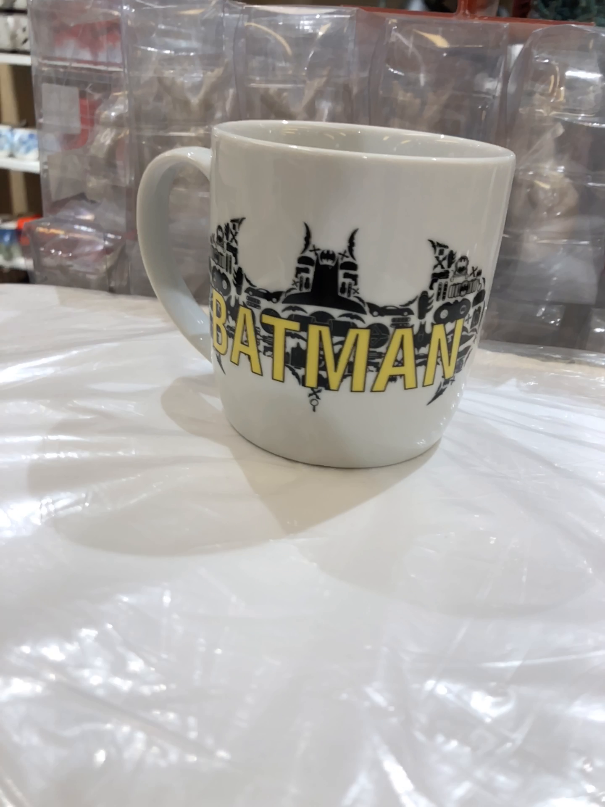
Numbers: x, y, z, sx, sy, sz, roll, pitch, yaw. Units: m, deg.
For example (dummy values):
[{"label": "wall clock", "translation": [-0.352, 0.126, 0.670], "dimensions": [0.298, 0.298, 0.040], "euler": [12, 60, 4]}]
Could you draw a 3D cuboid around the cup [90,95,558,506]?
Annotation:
[{"label": "cup", "translation": [0.007, -0.042, 0.212], "dimensions": [0.110, 0.089, 0.081], "euler": [16, 28, 21]}]
